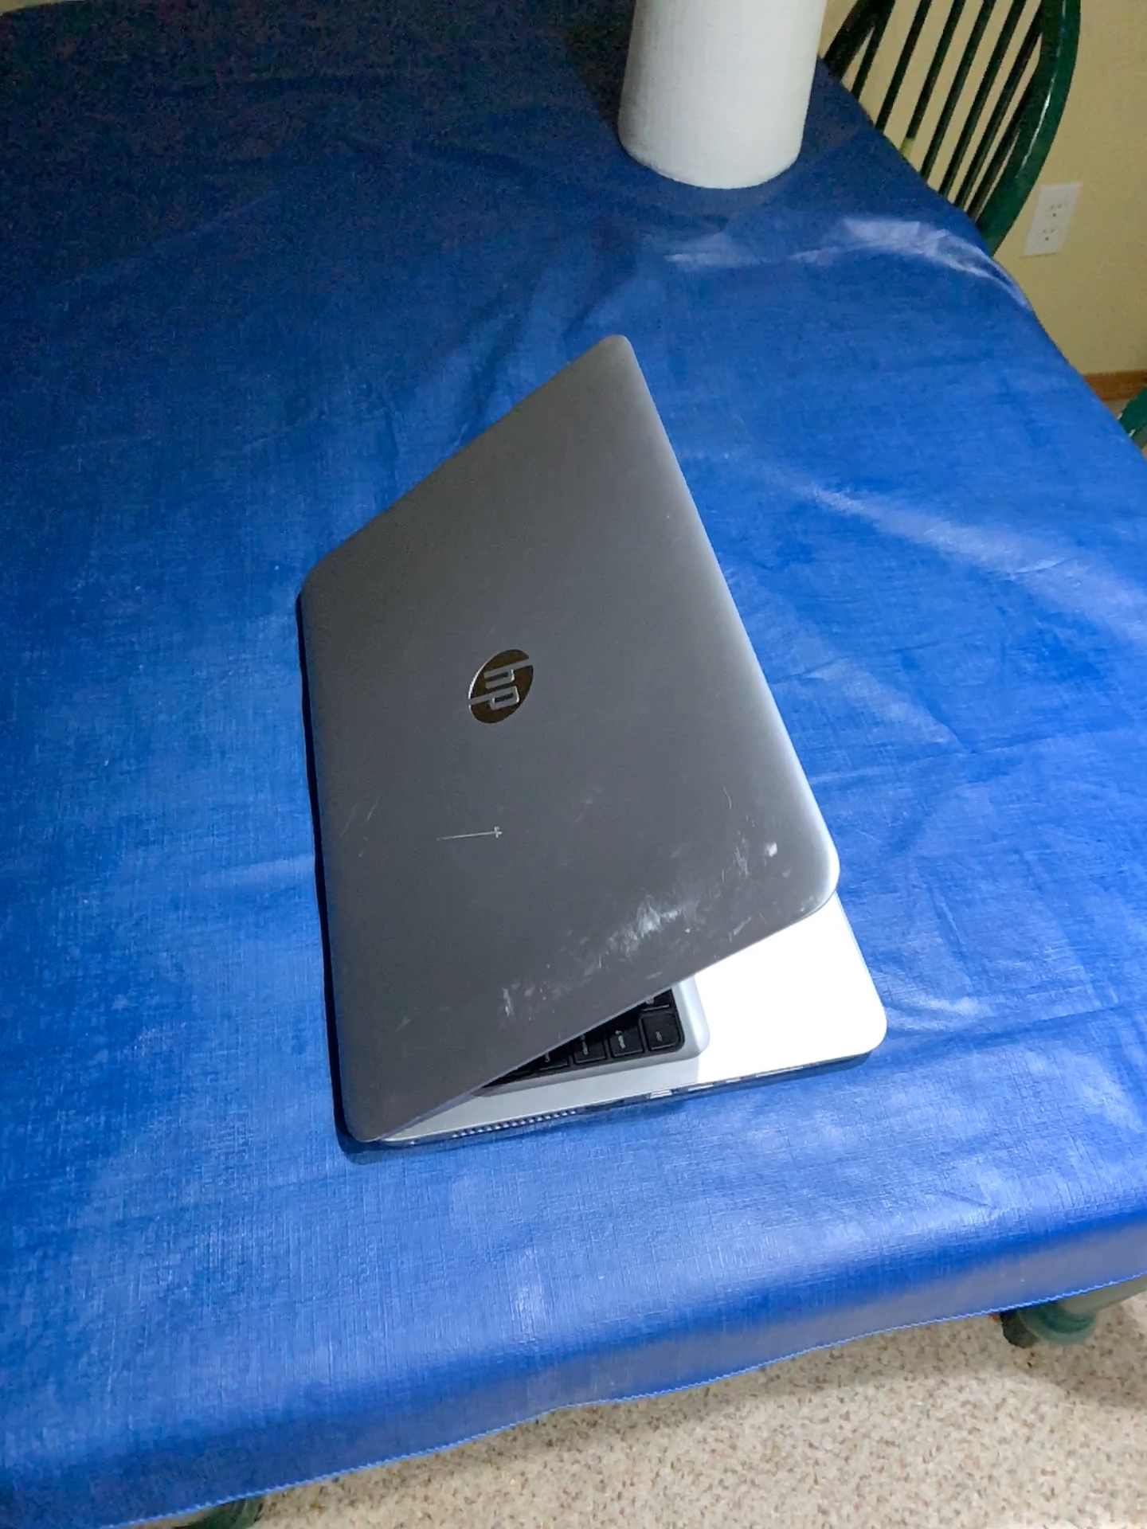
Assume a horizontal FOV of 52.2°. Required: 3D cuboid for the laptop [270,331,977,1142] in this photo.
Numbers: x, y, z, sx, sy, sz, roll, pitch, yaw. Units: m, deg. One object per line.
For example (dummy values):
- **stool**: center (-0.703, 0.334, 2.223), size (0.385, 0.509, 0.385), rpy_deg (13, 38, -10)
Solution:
- **laptop**: center (-0.006, -0.037, 0.601), size (0.253, 0.156, 0.367), rpy_deg (-8, 53, -8)
